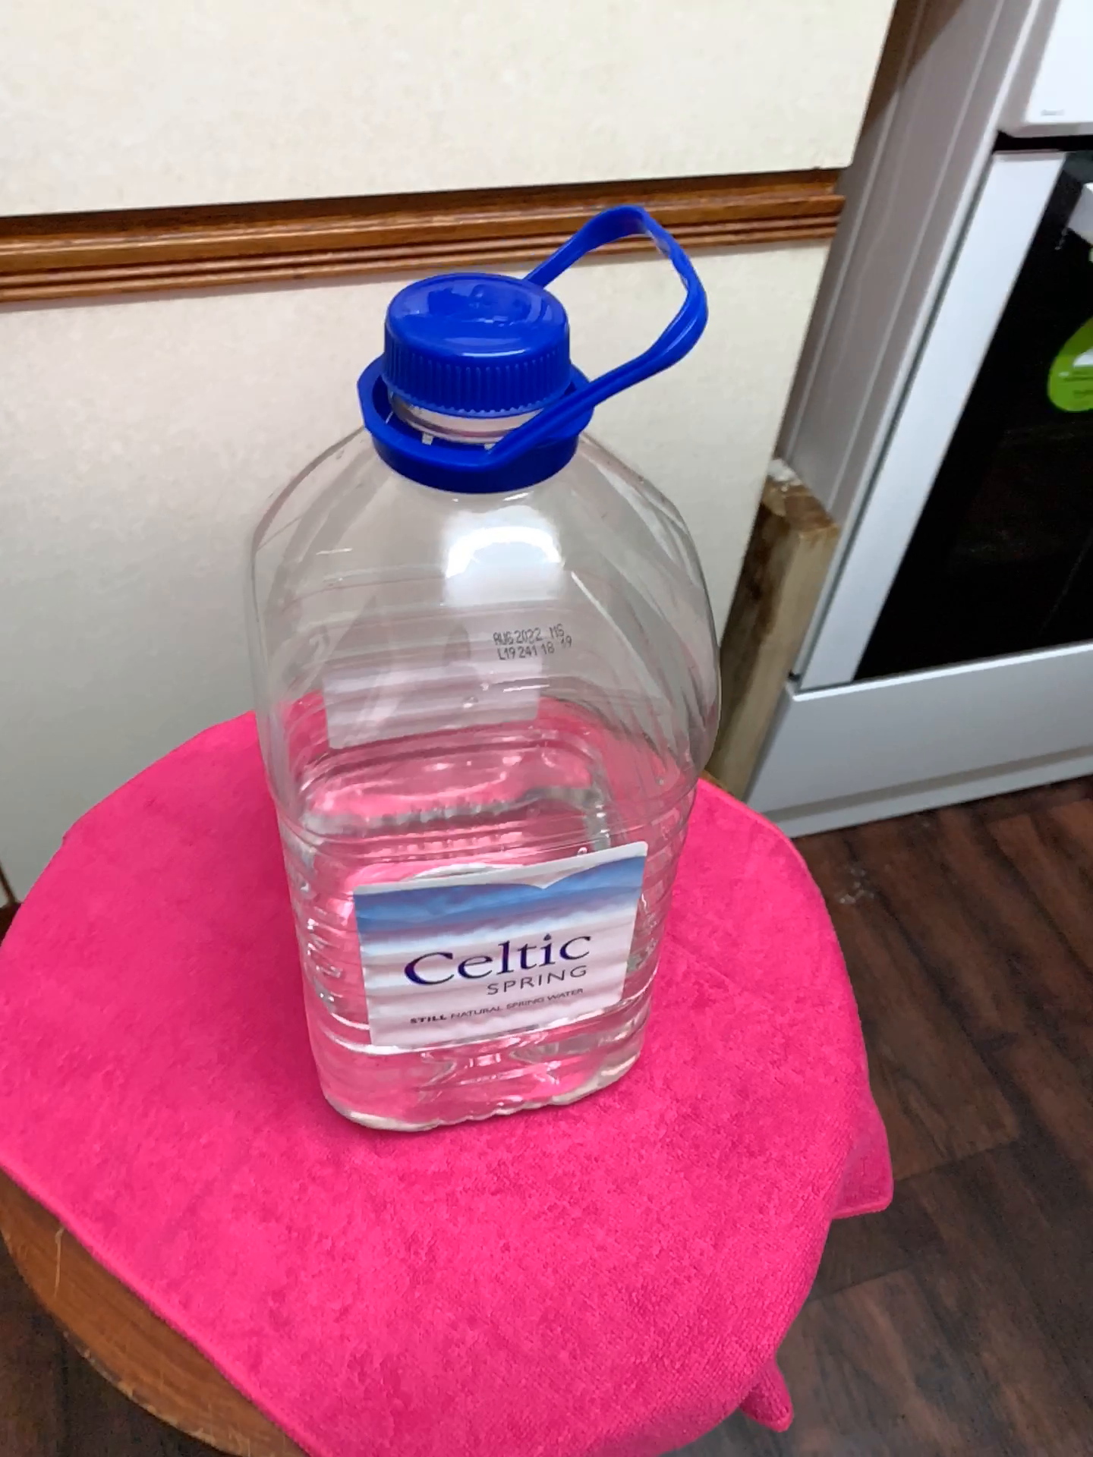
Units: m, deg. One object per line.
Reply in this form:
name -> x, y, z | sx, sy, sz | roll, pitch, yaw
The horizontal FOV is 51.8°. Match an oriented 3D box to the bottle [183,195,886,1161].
bottle -> -0.026, 0.007, 0.402 | 0.150, 0.327, 0.141 | 3, 48, -3
